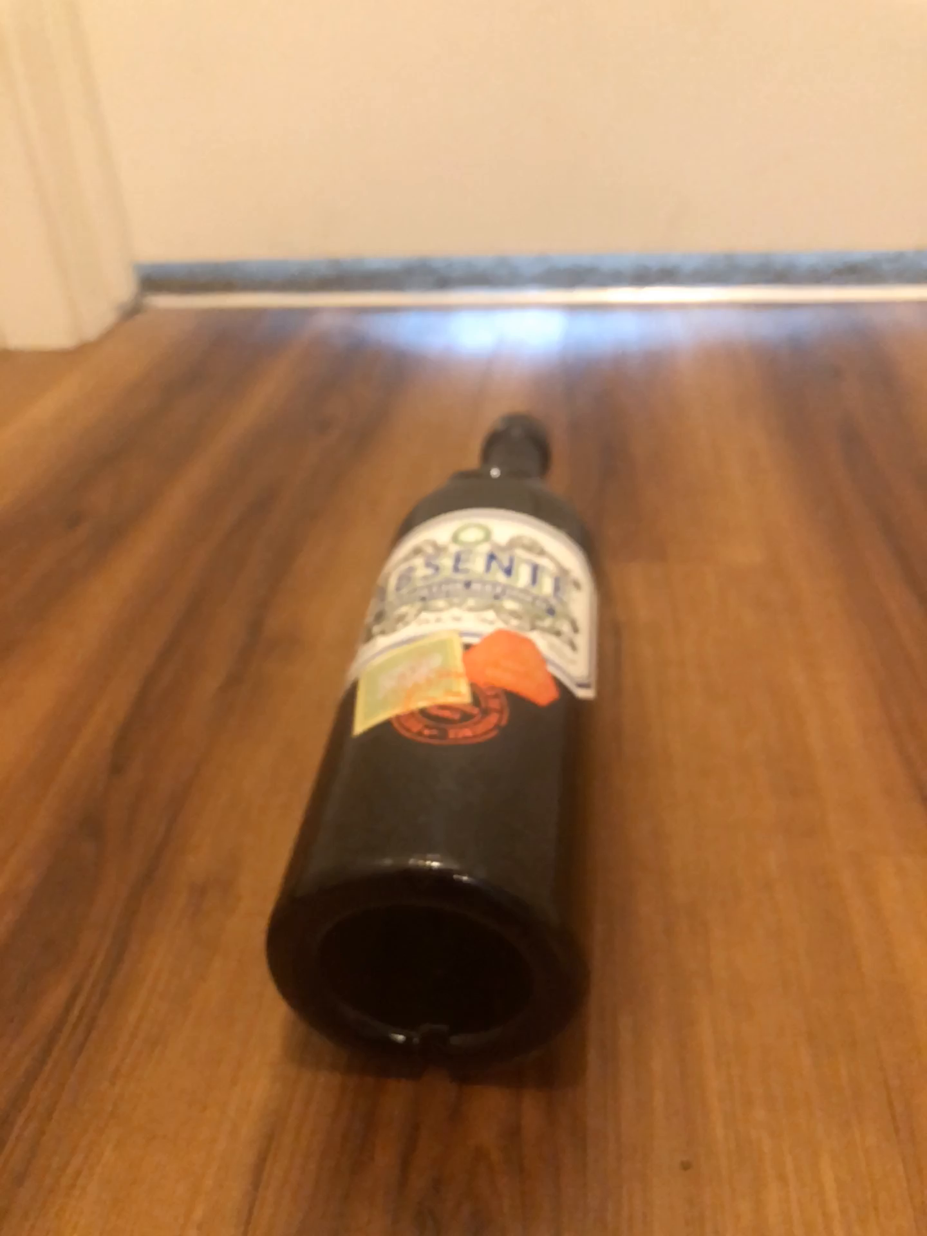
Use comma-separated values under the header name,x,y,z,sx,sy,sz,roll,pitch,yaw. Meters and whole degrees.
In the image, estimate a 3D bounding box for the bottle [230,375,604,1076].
name,x,y,z,sx,sy,sz,roll,pitch,yaw
bottle,0.008,0.001,0.371,0.080,0.070,0.301,1,33,7
